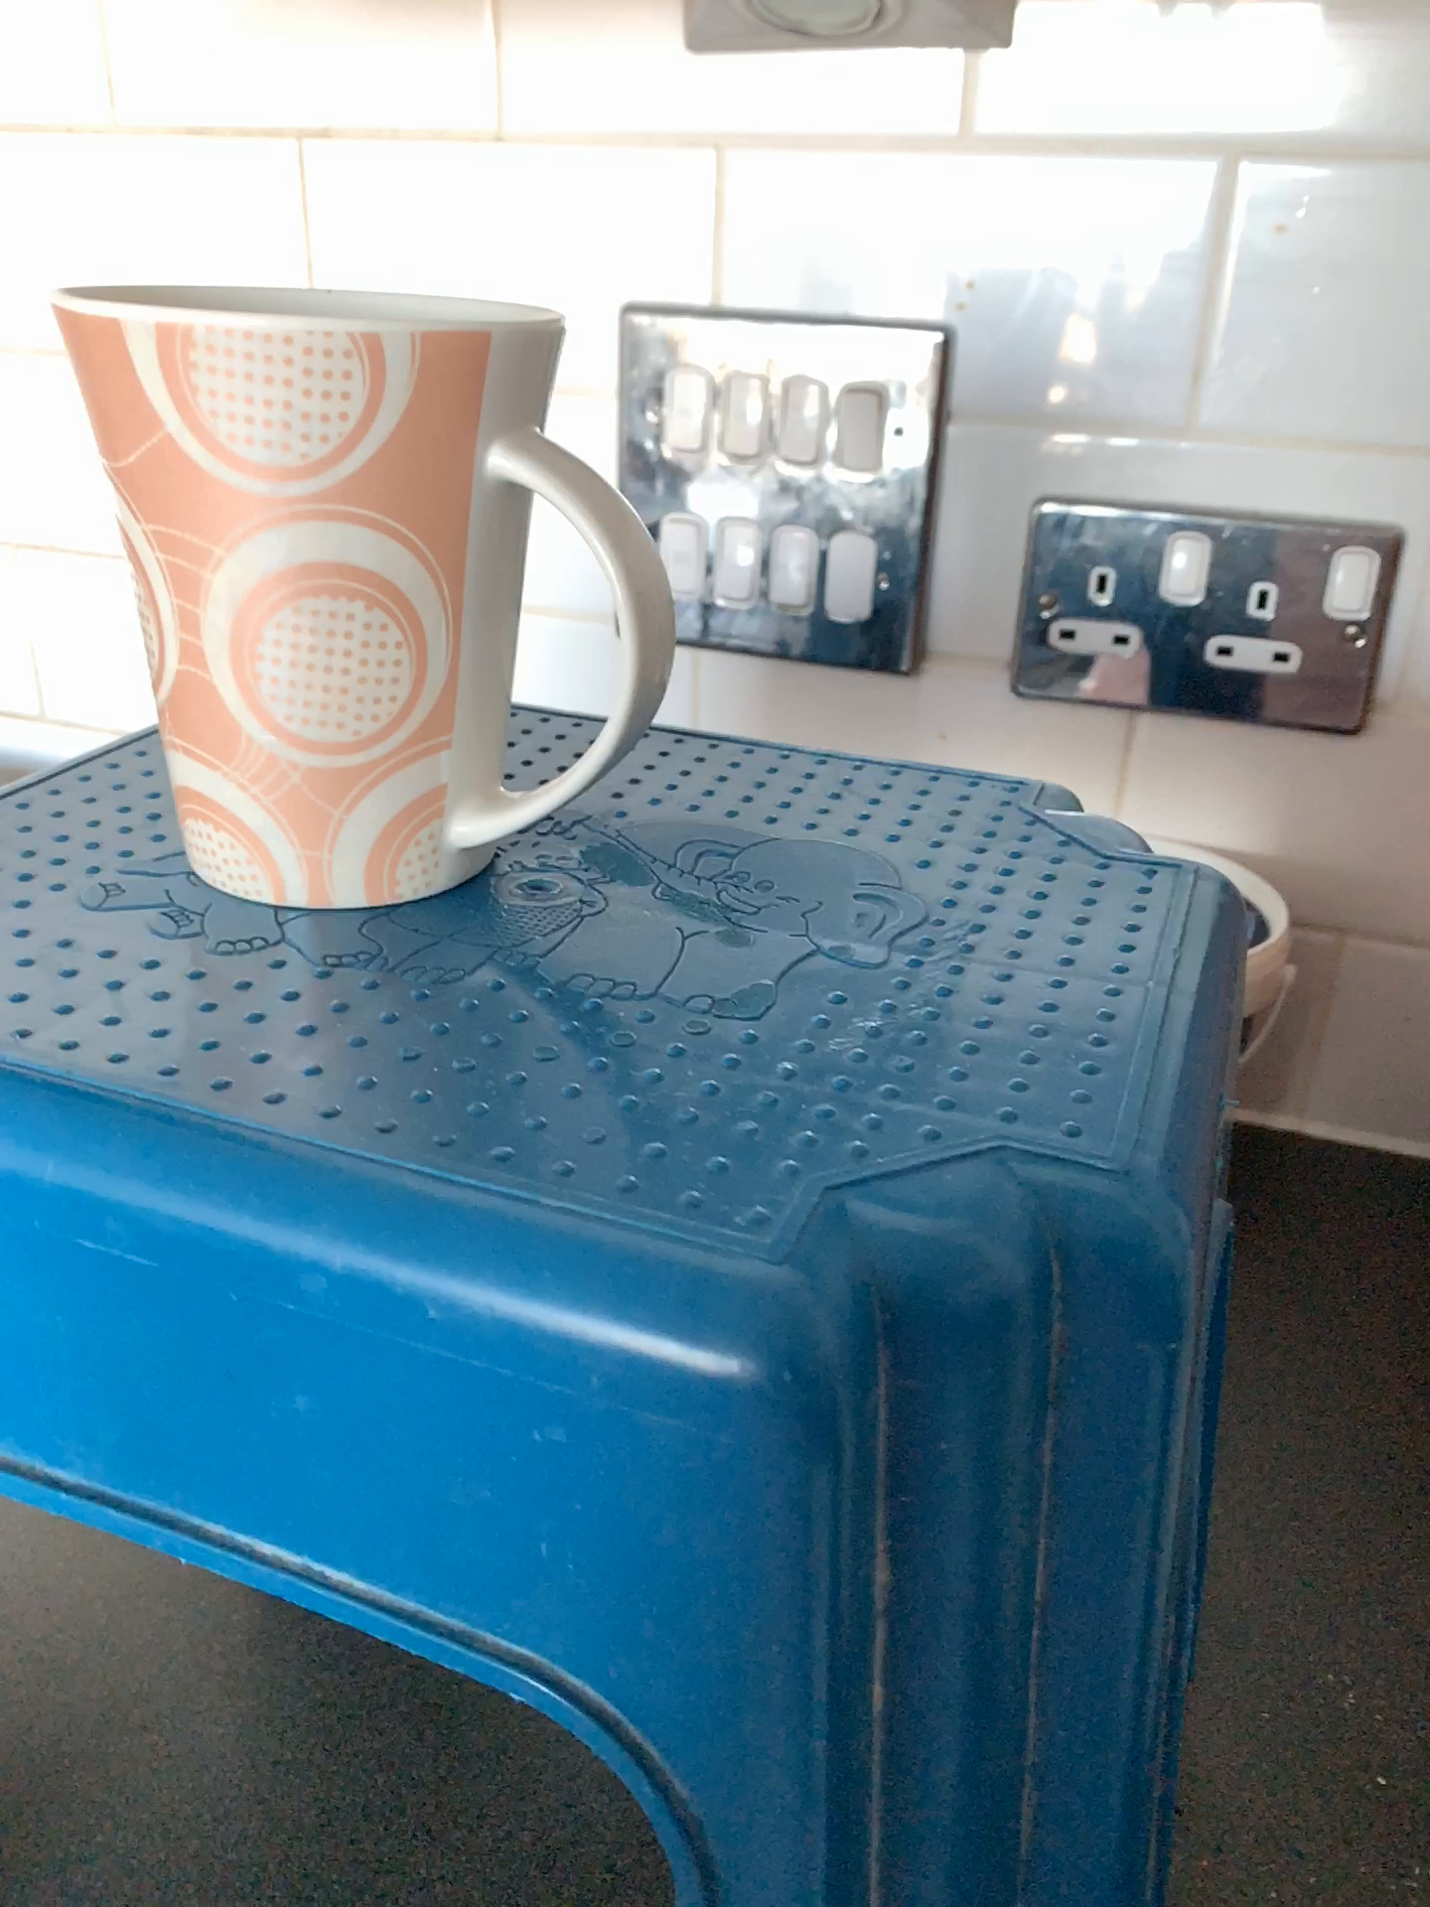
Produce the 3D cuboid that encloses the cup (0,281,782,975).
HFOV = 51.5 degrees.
[{"bbox_3d":[-0.057,-0.070,0.289,0.116,0.105,0.078,11,27,17],"label":"cup"}]
